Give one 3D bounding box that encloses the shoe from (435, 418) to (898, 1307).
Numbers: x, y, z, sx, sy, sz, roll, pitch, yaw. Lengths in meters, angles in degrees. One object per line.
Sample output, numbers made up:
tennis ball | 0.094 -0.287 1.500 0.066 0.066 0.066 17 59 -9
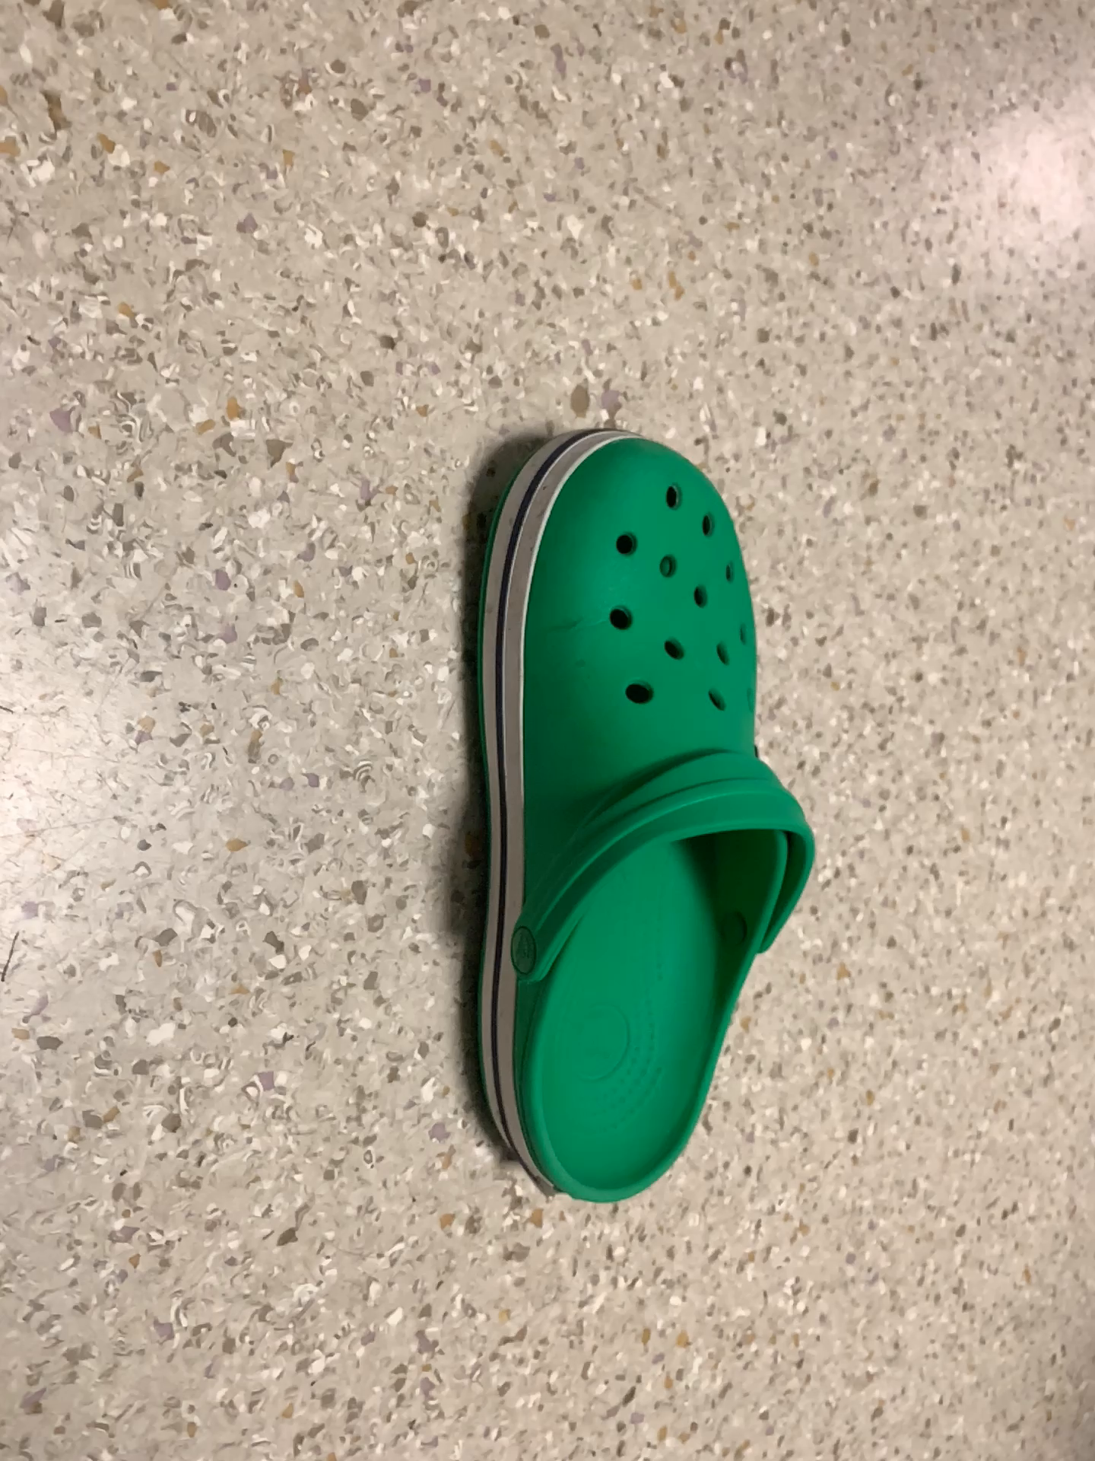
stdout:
shoe | 0.037 0.035 0.362 0.108 0.082 0.234 2 92 -36
